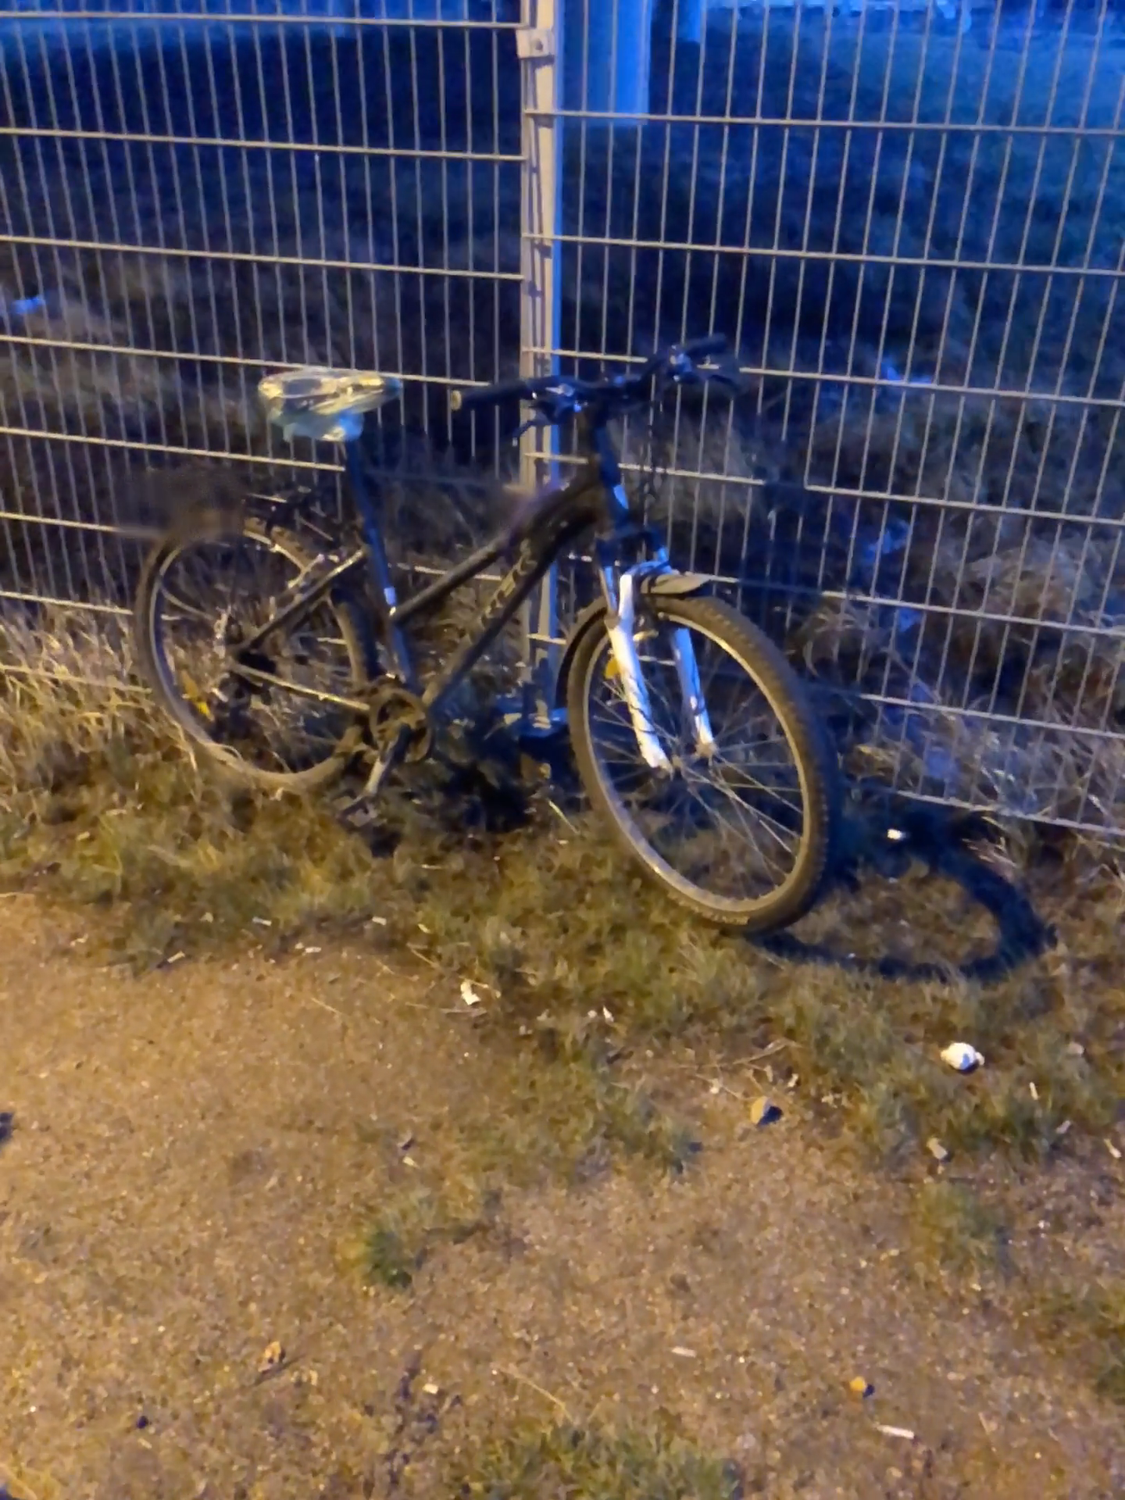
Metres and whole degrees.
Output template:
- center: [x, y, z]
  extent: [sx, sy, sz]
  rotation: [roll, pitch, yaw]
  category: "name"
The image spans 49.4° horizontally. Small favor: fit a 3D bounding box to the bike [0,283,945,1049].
- center: [-0.229, -0.271, 2.249]
  extent: [1.586, 0.947, 0.572]
  rotation: [17, 34, 28]
  category: "bike"
